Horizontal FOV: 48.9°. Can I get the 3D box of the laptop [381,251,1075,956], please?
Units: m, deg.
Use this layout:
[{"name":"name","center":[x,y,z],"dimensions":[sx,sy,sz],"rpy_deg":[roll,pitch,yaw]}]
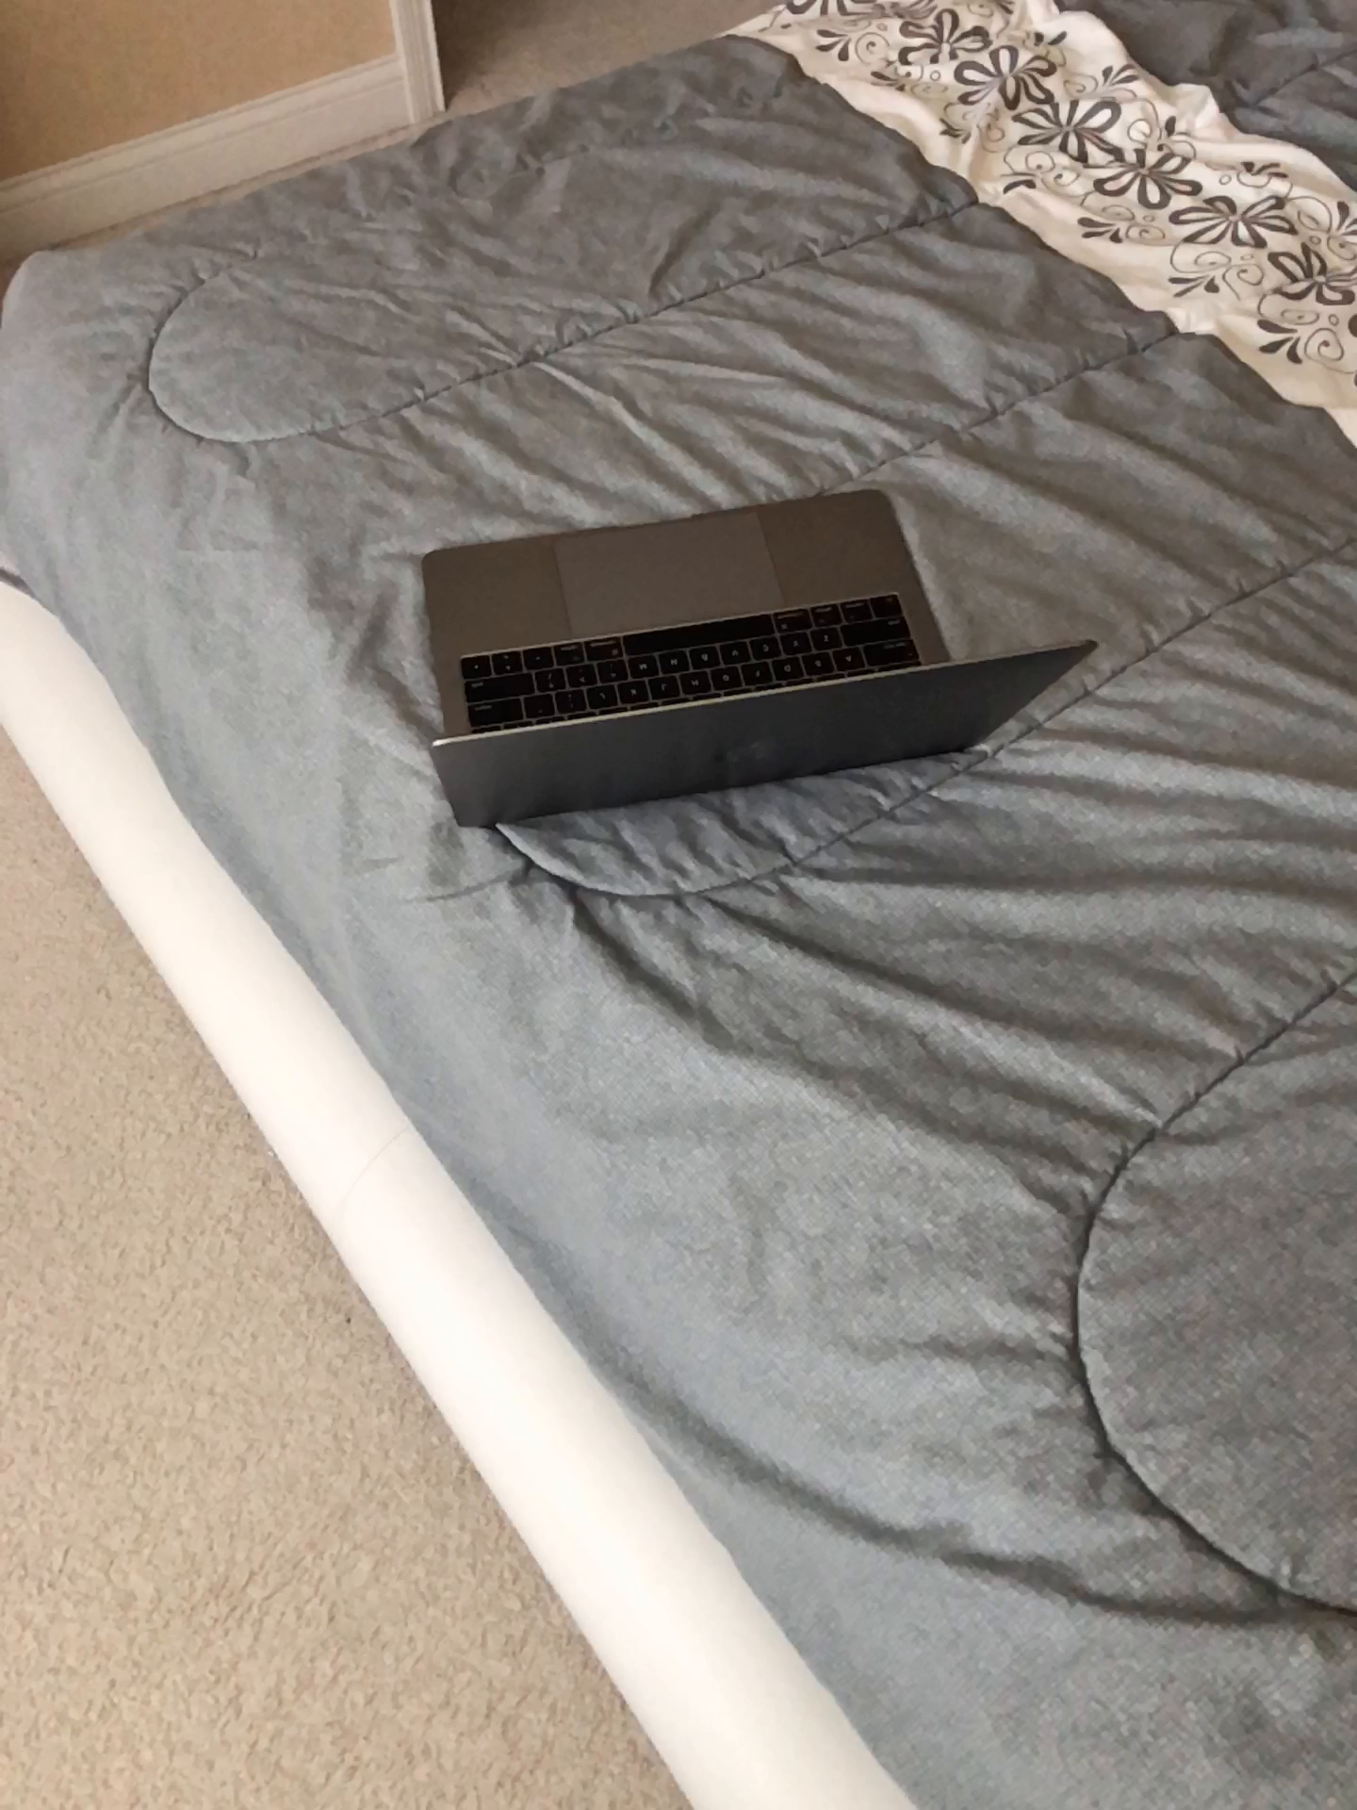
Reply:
[{"name":"laptop","center":[0.010,-0.162,0.770],"dimensions":[0.279,0.159,0.282],"rpy_deg":[-9,56,-5]}]
